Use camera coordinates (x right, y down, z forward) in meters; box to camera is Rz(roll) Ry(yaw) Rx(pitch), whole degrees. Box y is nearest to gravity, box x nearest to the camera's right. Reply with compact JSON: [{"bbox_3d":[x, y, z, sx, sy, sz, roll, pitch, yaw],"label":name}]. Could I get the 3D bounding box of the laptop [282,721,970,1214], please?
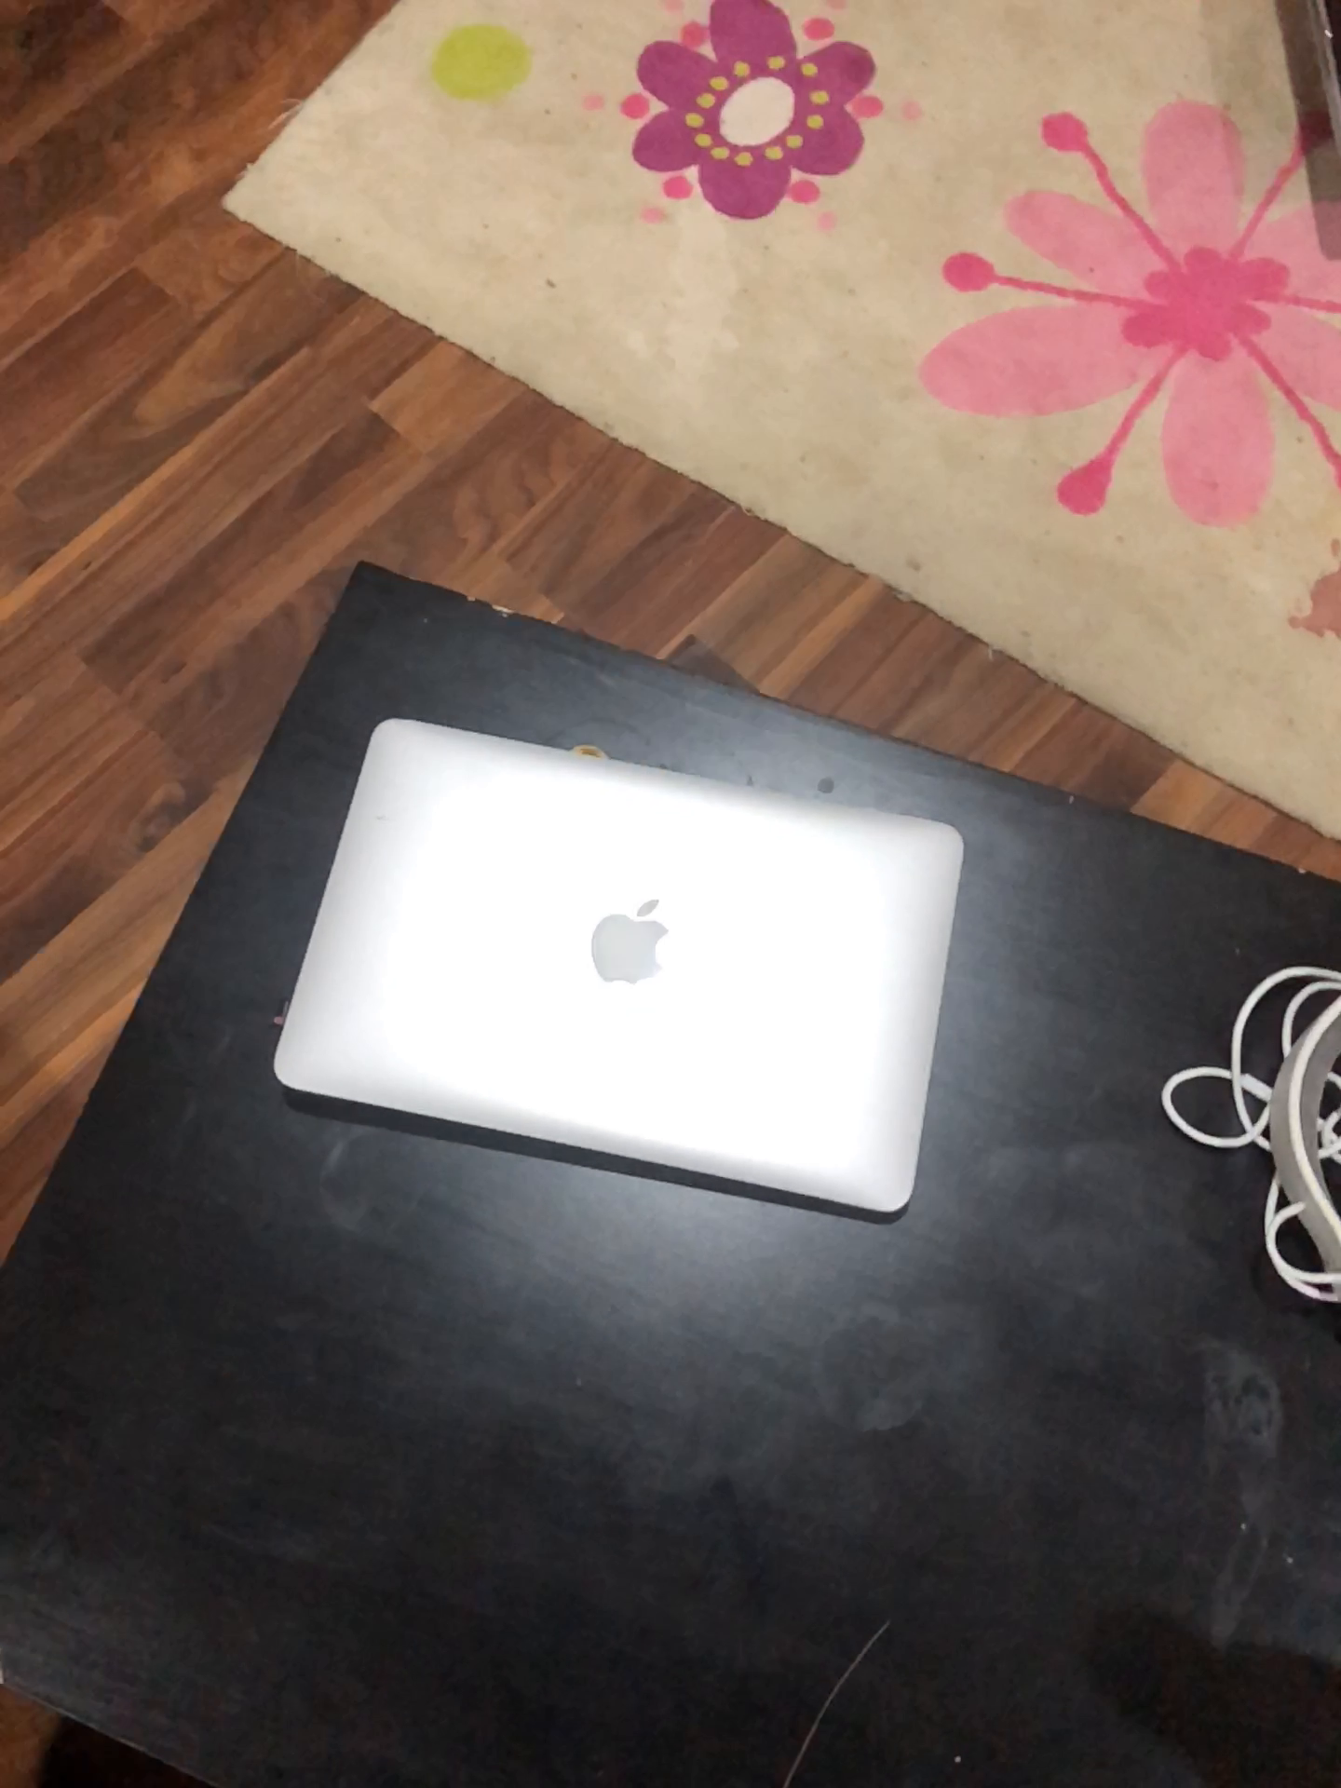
[{"bbox_3d":[-0.018,0.032,0.723,0.300,0.011,0.190,11,76,2],"label":"laptop"}]
